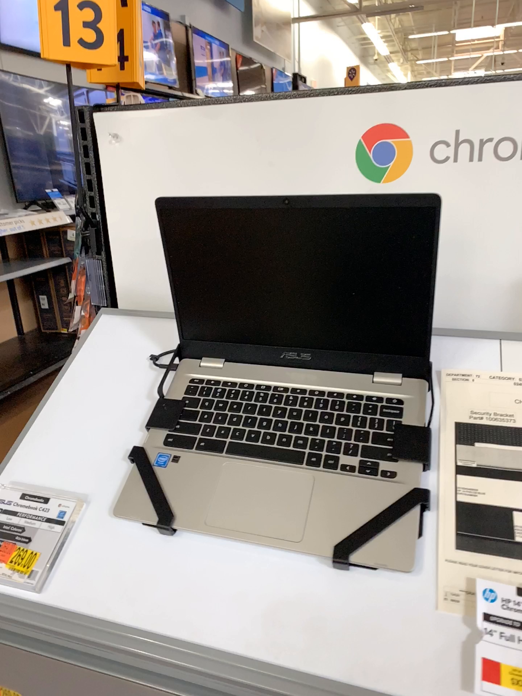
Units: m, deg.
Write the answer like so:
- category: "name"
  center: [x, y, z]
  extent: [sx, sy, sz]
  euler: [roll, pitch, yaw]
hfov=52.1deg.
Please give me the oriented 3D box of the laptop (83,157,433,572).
- category: "laptop"
  center: [0.016, -0.018, 0.591]
  extent: [0.308, 0.196, 0.293]
  euler: [4, 40, 17]
